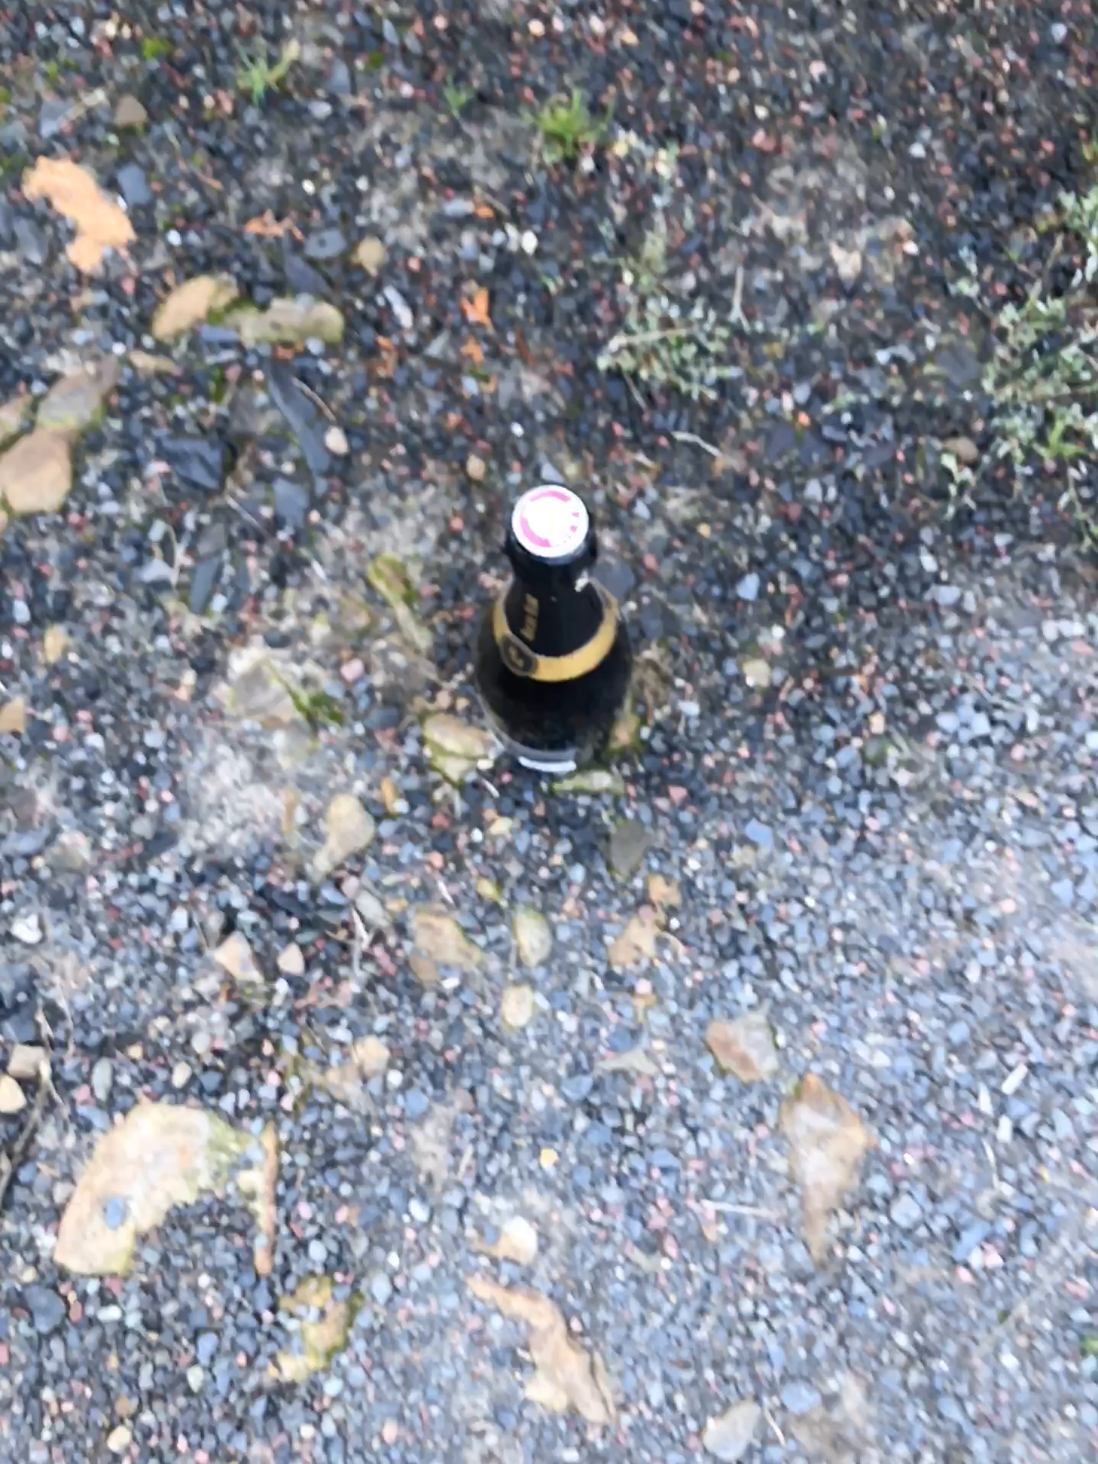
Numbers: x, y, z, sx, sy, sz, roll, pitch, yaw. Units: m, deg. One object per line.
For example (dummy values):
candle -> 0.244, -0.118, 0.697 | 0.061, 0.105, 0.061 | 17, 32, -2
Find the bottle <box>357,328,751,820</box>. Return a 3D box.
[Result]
bottle -> 0.005, -0.049, 0.582 | 0.100, 0.300, 0.100 | 0, 78, 1
